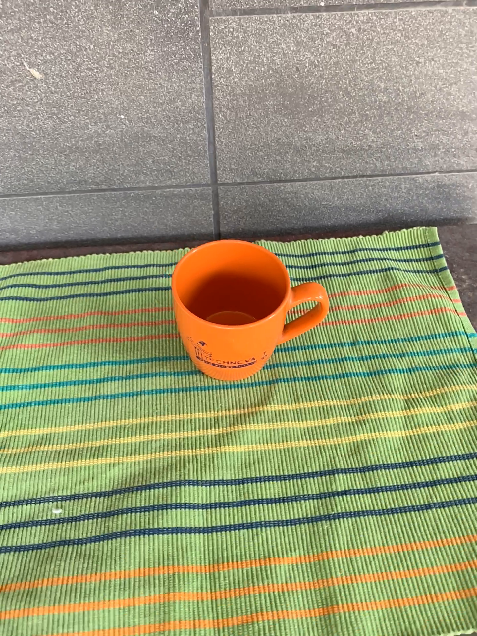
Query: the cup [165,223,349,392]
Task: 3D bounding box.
[{"bbox_3d":[0.009,-0.008,0.379,0.120,0.080,0.090,-5,51,-3],"label":"cup"}]
